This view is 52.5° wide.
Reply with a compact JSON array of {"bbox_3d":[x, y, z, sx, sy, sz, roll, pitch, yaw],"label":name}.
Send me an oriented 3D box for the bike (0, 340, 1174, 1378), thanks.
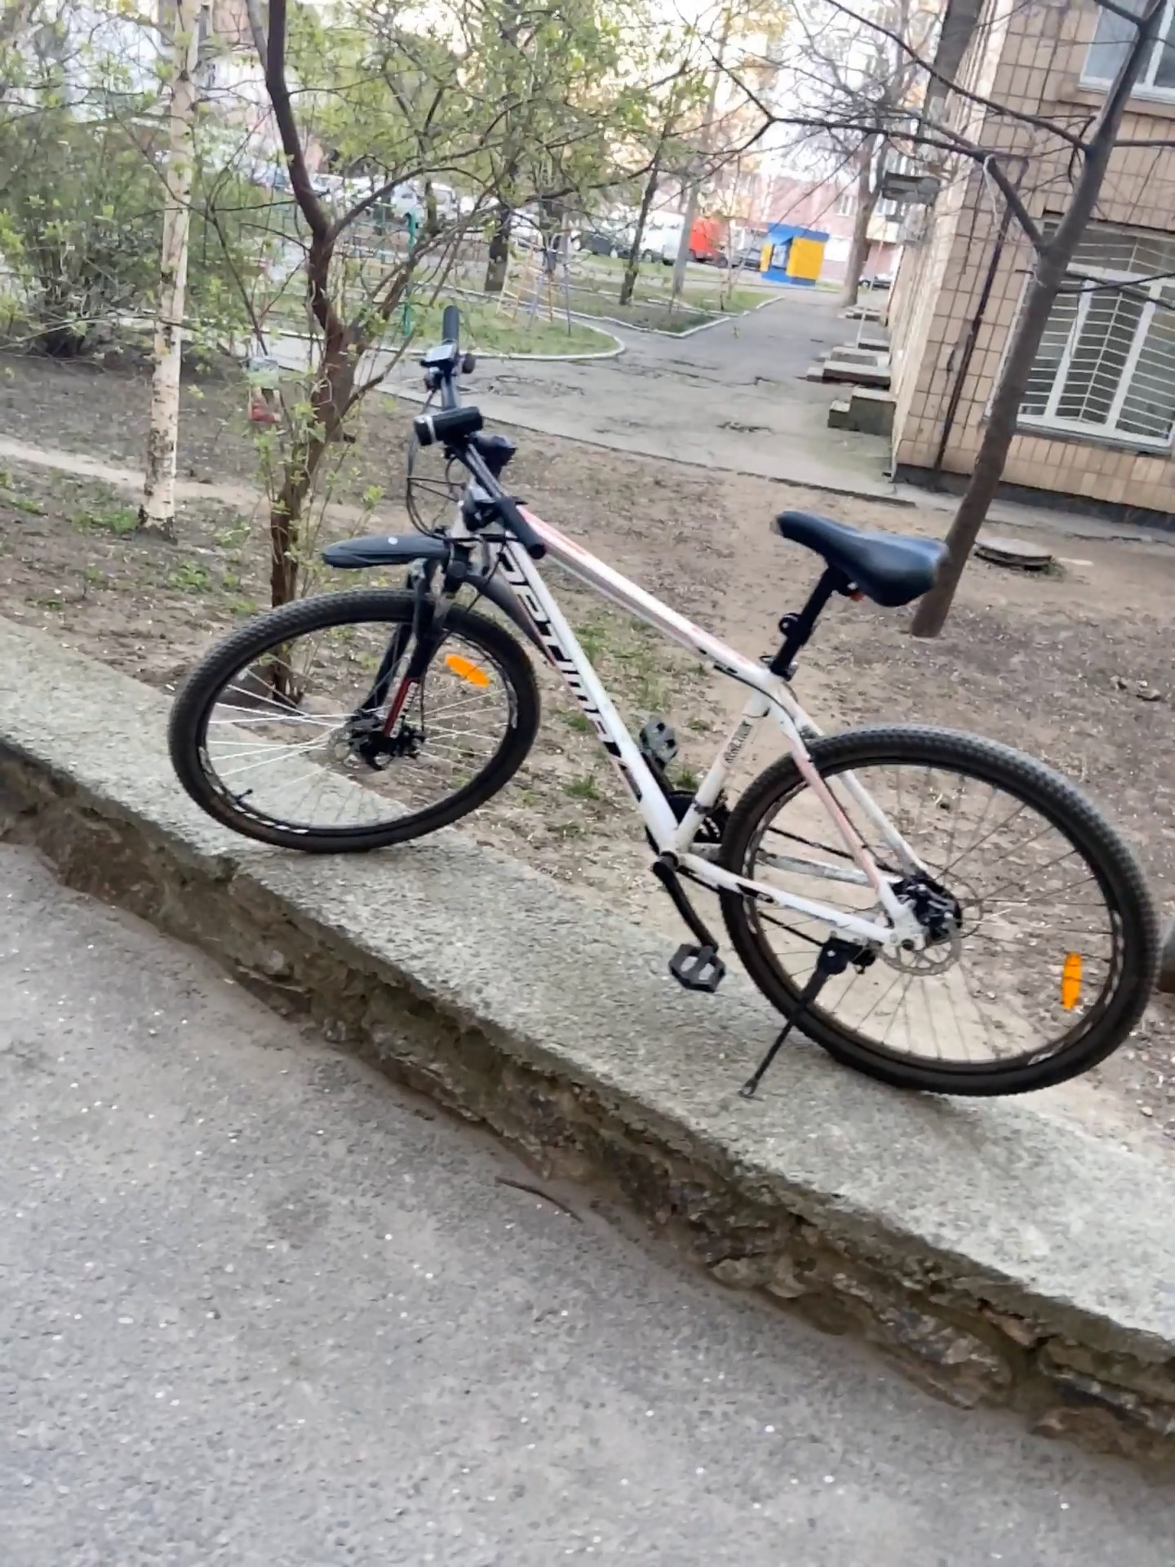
[{"bbox_3d":[0.072,0.008,1.921,1.750,1.144,0.682,14,25,14],"label":"bike"}]
